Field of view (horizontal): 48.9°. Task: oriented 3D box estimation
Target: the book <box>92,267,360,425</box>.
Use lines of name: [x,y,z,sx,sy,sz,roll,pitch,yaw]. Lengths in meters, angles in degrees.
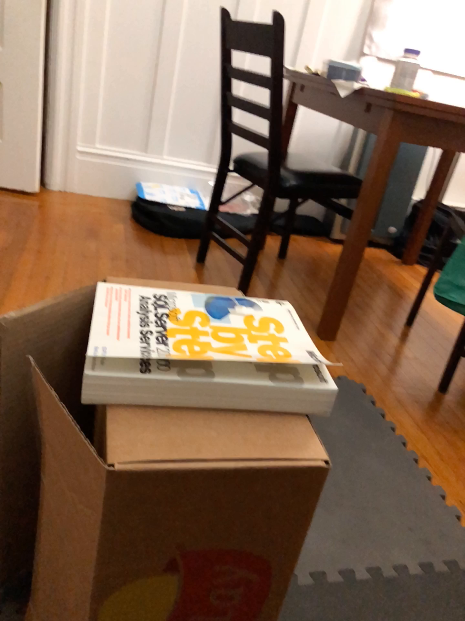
book: [-0.023,0.028,0.542,0.240,0.050,0.201,2,30,-17]
